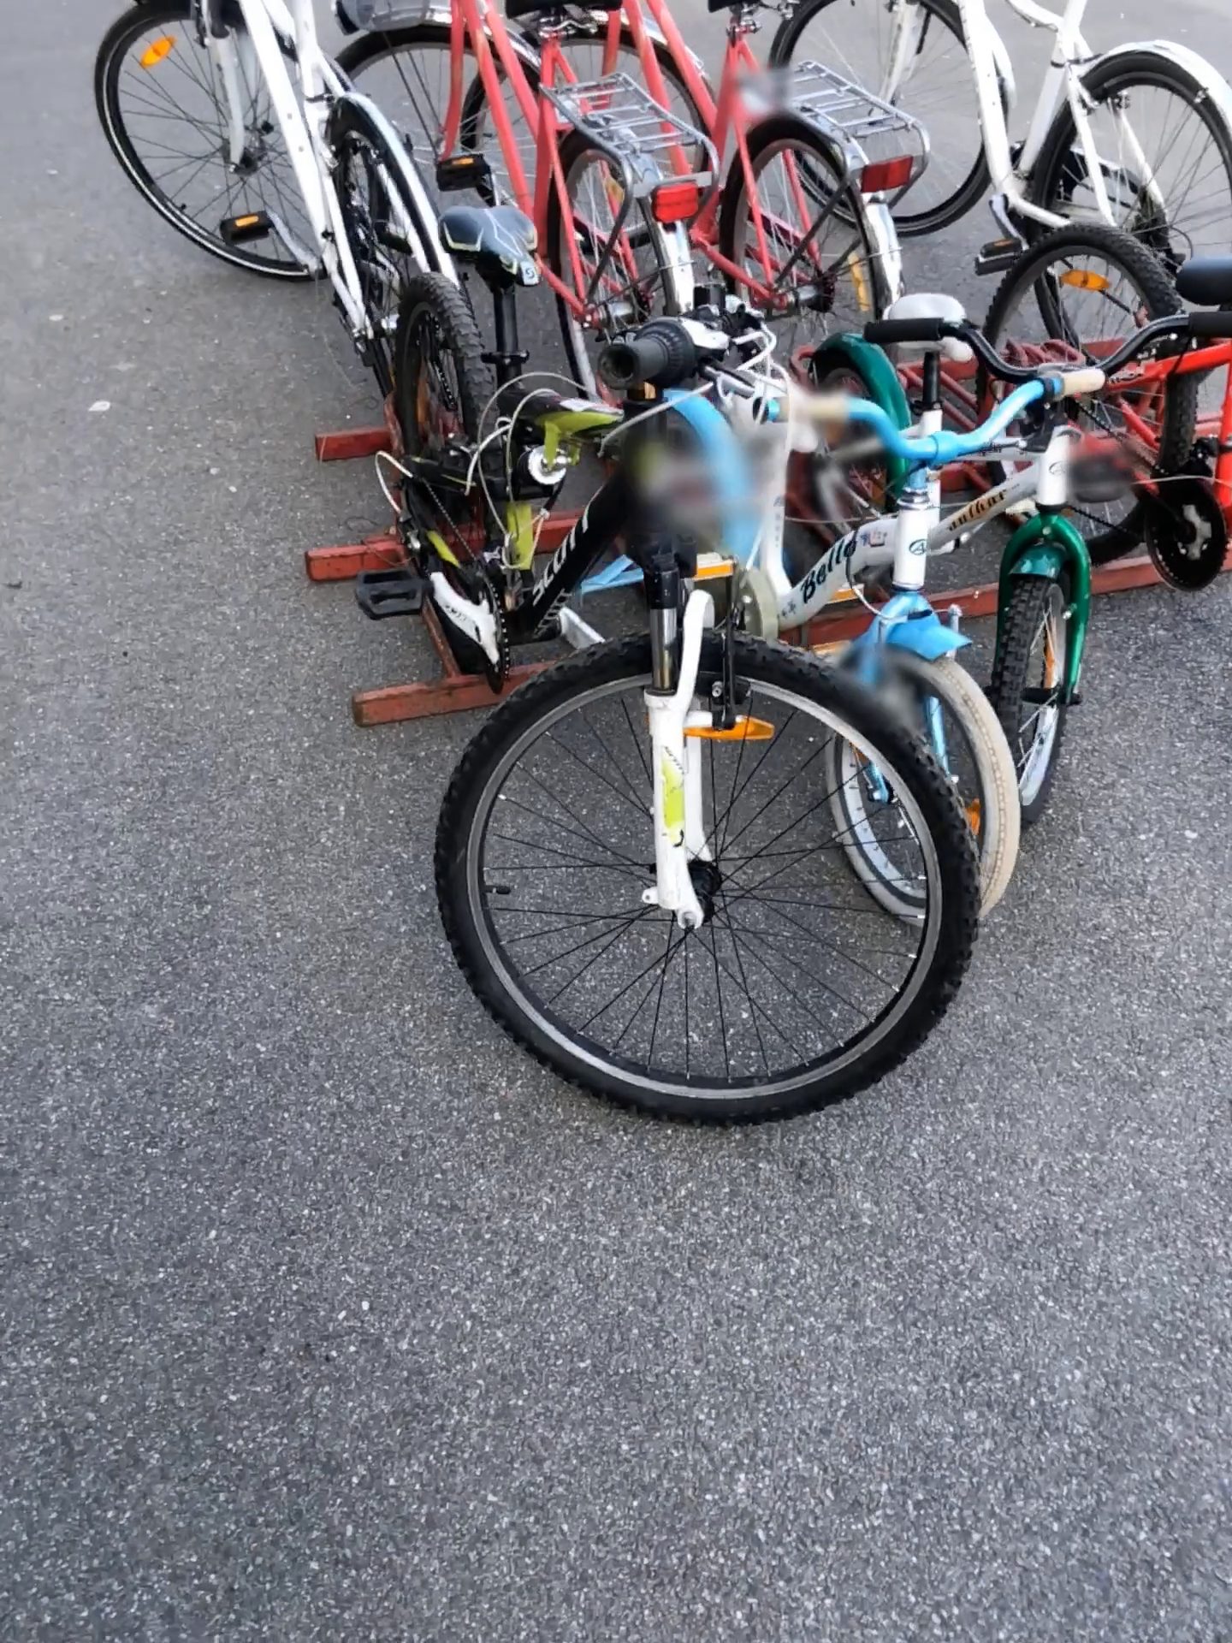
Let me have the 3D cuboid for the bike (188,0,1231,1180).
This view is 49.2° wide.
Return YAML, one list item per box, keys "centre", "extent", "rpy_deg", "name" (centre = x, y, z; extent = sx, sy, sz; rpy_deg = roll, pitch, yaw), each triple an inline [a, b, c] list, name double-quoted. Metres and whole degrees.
- centre: [-0.007, -0.397, 1.697]
  extent: [0.529, 0.901, 1.378]
  rpy_deg: [-17, 45, -24]
  name: "bike"
